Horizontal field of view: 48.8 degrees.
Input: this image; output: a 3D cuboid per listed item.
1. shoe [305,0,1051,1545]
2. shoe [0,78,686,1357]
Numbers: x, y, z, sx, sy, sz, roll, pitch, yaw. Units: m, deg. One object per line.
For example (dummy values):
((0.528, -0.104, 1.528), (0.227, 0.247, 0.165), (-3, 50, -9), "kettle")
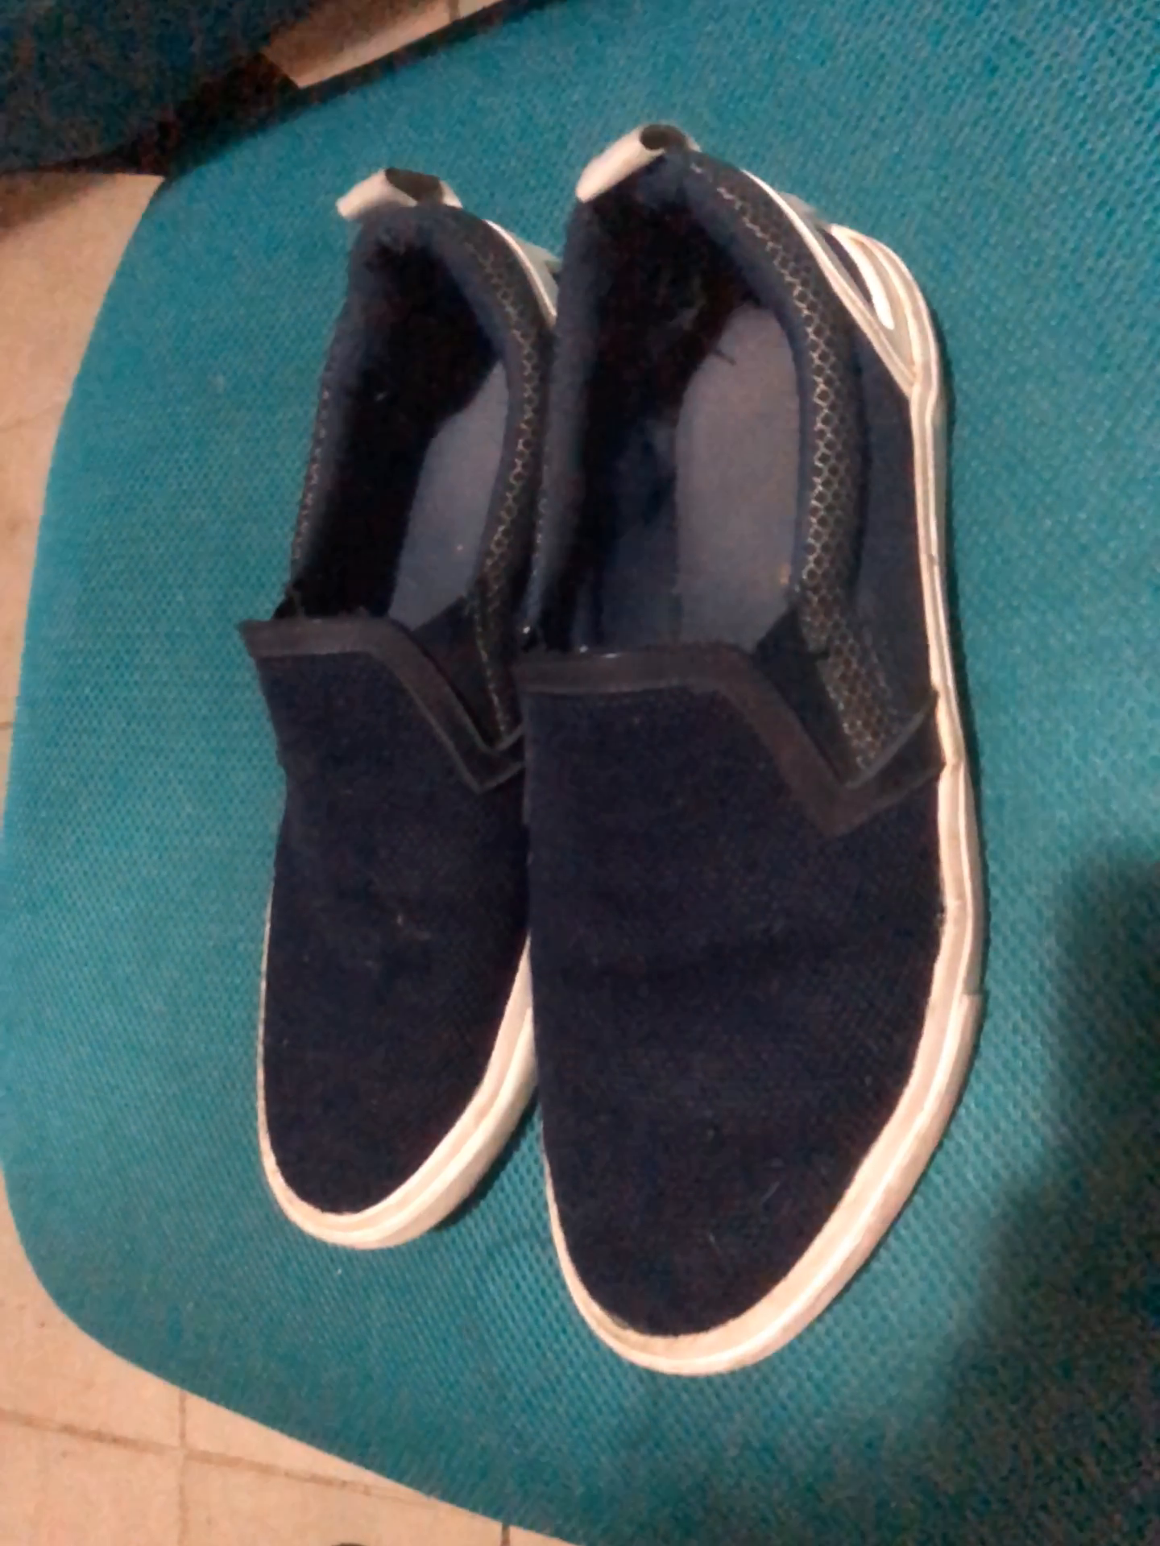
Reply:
((0.032, 0.003, 0.296), (0.120, 0.110, 0.290), (0, 83, 31), "shoe")
((-0.062, -0.014, 0.364), (0.120, 0.110, 0.290), (3, 84, 31), "shoe")
